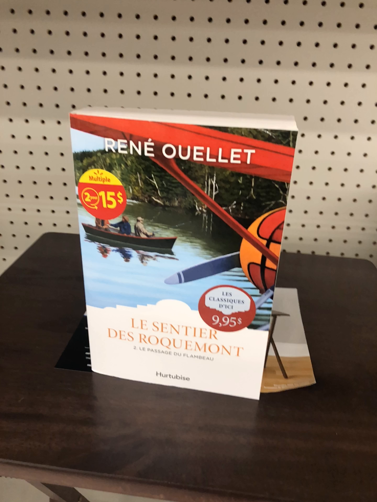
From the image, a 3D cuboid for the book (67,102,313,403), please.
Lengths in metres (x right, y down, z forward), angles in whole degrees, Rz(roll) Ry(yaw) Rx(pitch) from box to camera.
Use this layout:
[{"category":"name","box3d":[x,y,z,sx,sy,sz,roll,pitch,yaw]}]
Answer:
[{"category":"book","box3d":[-0.002,0.004,0.331,0.153,0.215,0.065,7,26,7]}]
